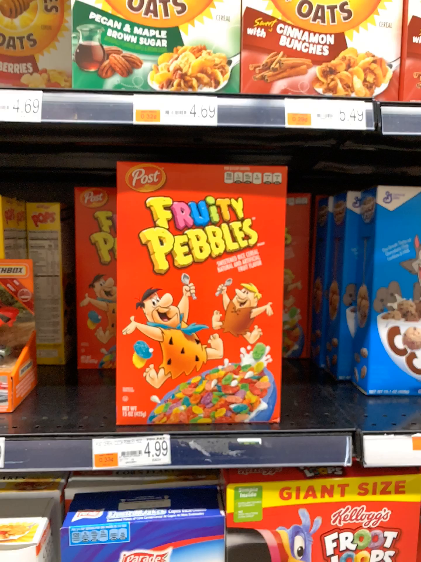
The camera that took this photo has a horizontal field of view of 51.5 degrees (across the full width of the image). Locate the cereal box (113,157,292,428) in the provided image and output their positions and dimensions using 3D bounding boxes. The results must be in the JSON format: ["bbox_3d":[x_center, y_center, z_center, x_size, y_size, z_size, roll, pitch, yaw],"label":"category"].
[{"bbox_3d":[-0.011,0.014,0.532,0.200,0.310,0.060,0,4,-3],"label":"cereal box"}]
